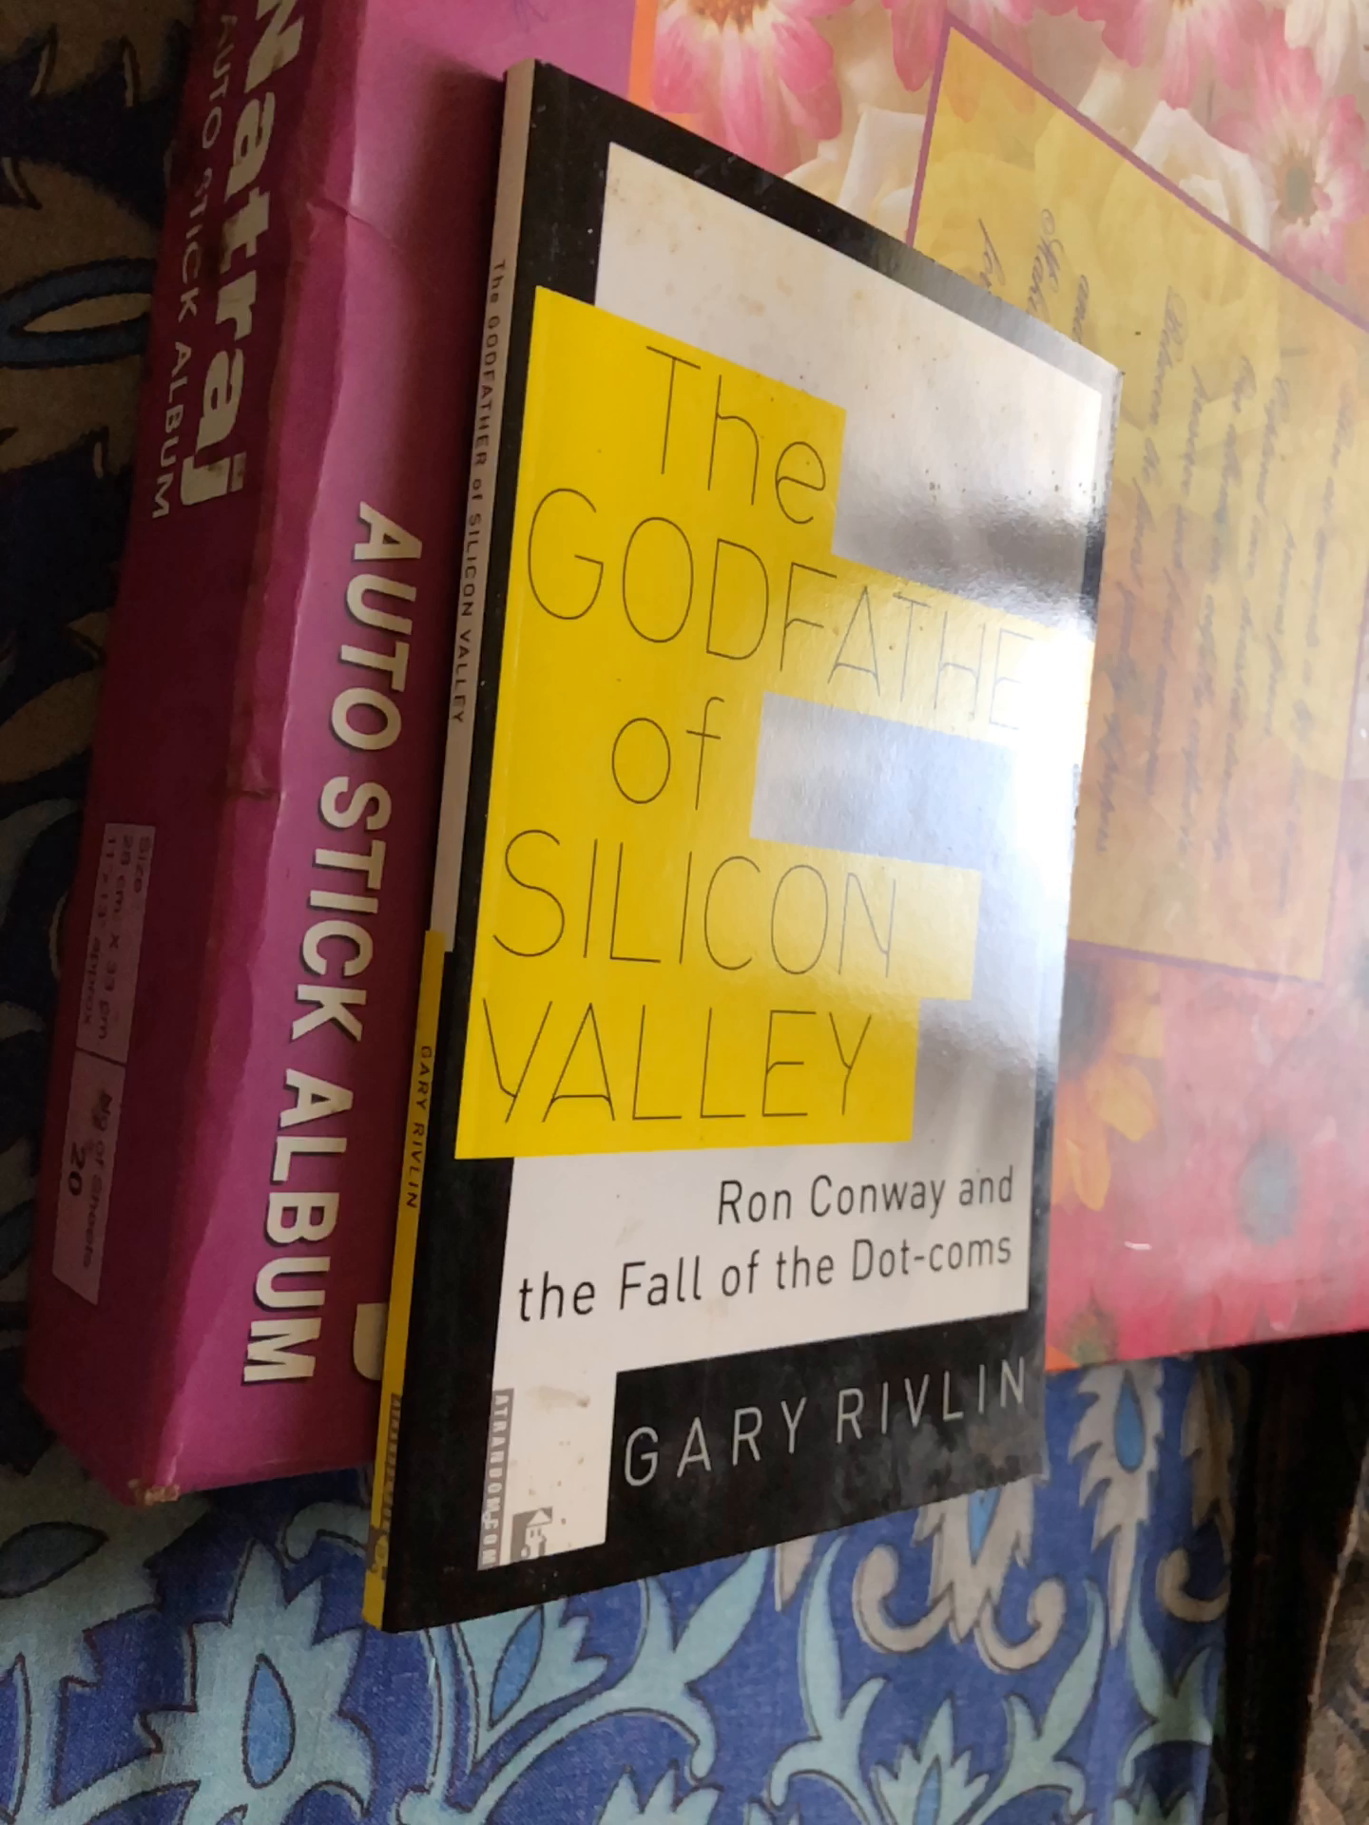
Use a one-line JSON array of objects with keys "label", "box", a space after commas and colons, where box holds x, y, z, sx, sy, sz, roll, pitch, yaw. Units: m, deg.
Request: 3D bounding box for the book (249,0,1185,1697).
[{"label": "book", "box": [0.018, -0.006, 0.247, 0.151, 0.020, 0.220, 6, 91, -41]}]
